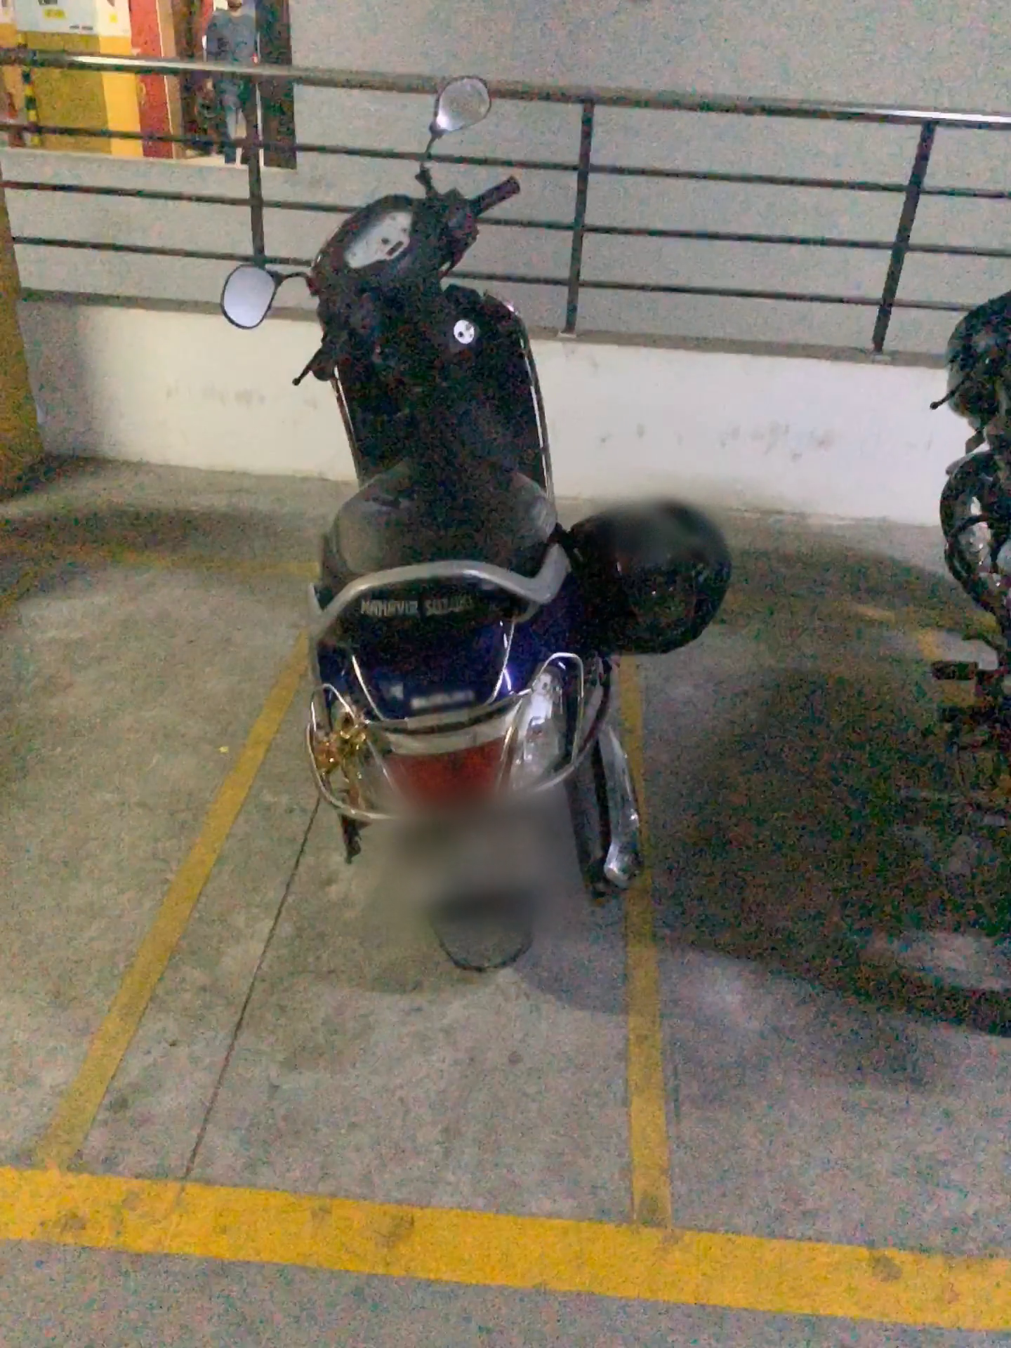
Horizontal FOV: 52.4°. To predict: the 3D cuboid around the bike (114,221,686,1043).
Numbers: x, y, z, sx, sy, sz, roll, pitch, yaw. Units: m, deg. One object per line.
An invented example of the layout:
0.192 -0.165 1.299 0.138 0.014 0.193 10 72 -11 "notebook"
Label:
-0.247 -0.229 2.071 0.622 1.156 1.483 -1 28 -8 "bike"
